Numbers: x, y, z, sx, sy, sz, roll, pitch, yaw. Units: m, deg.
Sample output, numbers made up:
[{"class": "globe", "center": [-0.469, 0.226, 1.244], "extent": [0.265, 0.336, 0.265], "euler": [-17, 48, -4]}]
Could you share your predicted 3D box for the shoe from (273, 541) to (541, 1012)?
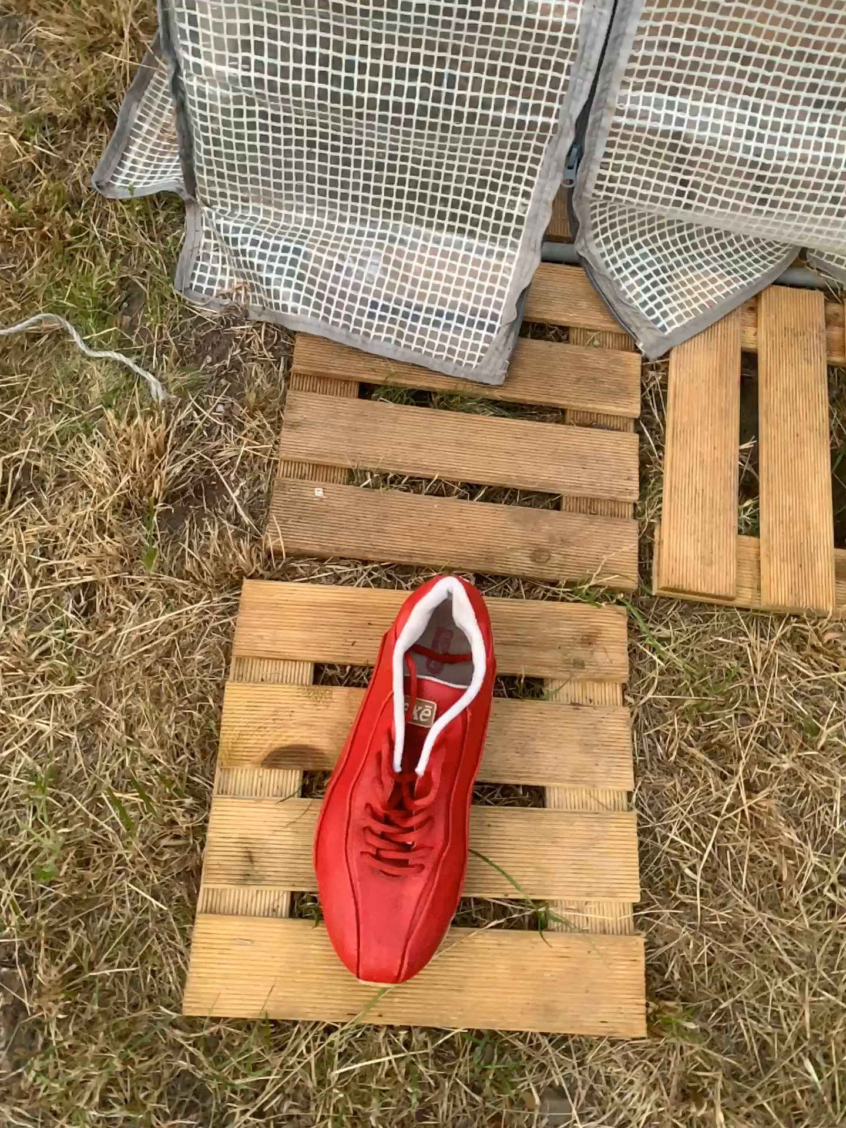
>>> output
[{"class": "shoe", "center": [-0.006, 0.132, 0.569], "extent": [0.100, 0.100, 0.261], "euler": [14, 72, 2]}]
